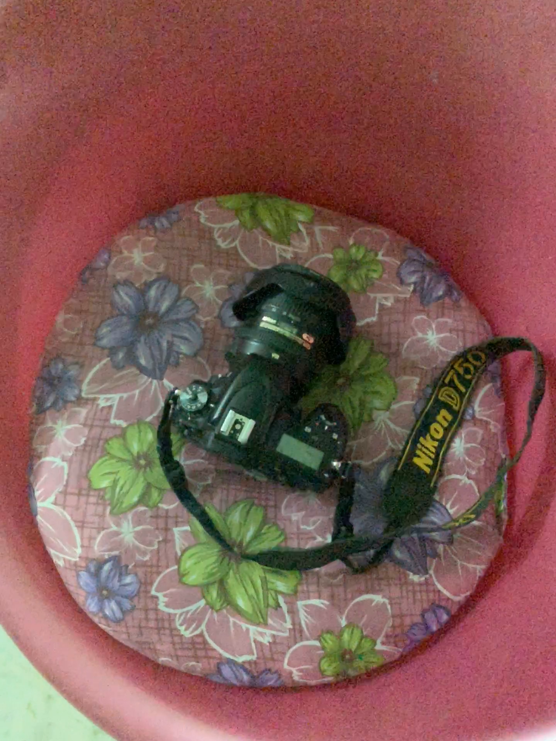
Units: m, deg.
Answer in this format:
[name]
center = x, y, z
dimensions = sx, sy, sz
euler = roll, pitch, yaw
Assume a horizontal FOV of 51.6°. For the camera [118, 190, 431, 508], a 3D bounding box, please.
[camera]
center = 0.002, -0.010, 0.489
dimensions = 0.166, 0.130, 0.191
euler = 24, 78, 8
